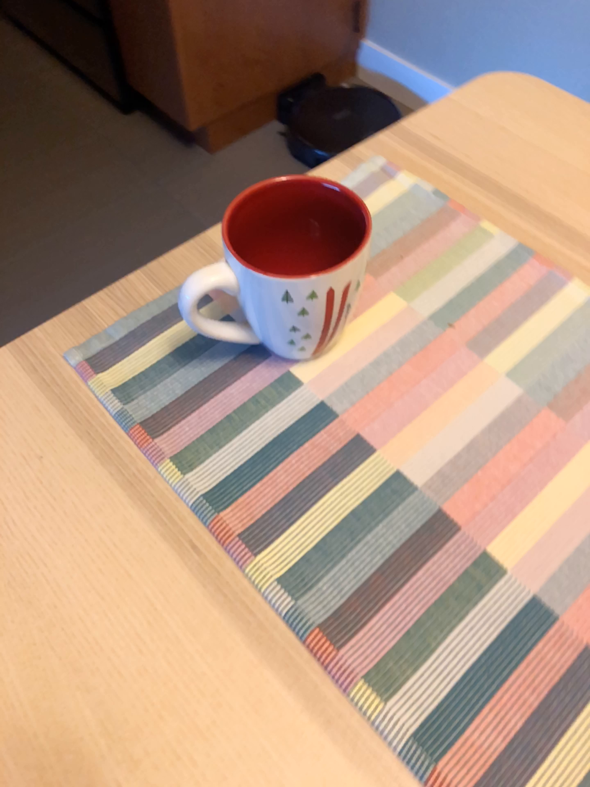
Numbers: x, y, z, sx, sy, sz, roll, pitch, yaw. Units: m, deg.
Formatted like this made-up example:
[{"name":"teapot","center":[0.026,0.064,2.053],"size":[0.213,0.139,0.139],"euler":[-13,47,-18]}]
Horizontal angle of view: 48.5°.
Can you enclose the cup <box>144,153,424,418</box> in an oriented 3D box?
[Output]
[{"name":"cup","center":[-0.008,-0.073,0.434],"size":[0.140,0.090,0.100],"euler":[-23,58,-15]}]
